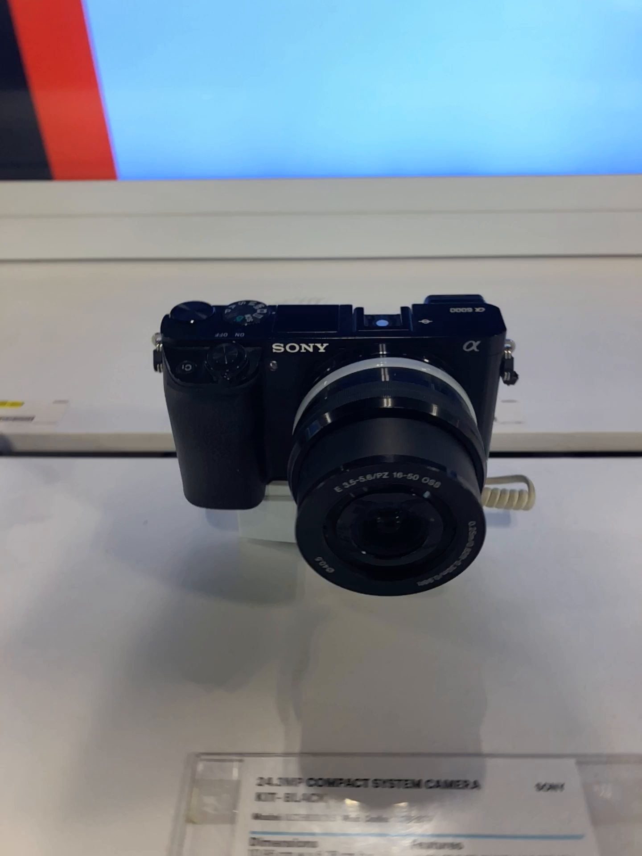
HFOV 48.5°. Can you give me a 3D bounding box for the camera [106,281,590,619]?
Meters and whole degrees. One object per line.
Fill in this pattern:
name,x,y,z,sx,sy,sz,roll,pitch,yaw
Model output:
camera,0.008,0.003,0.253,0.130,0.070,0.101,-1,37,1
